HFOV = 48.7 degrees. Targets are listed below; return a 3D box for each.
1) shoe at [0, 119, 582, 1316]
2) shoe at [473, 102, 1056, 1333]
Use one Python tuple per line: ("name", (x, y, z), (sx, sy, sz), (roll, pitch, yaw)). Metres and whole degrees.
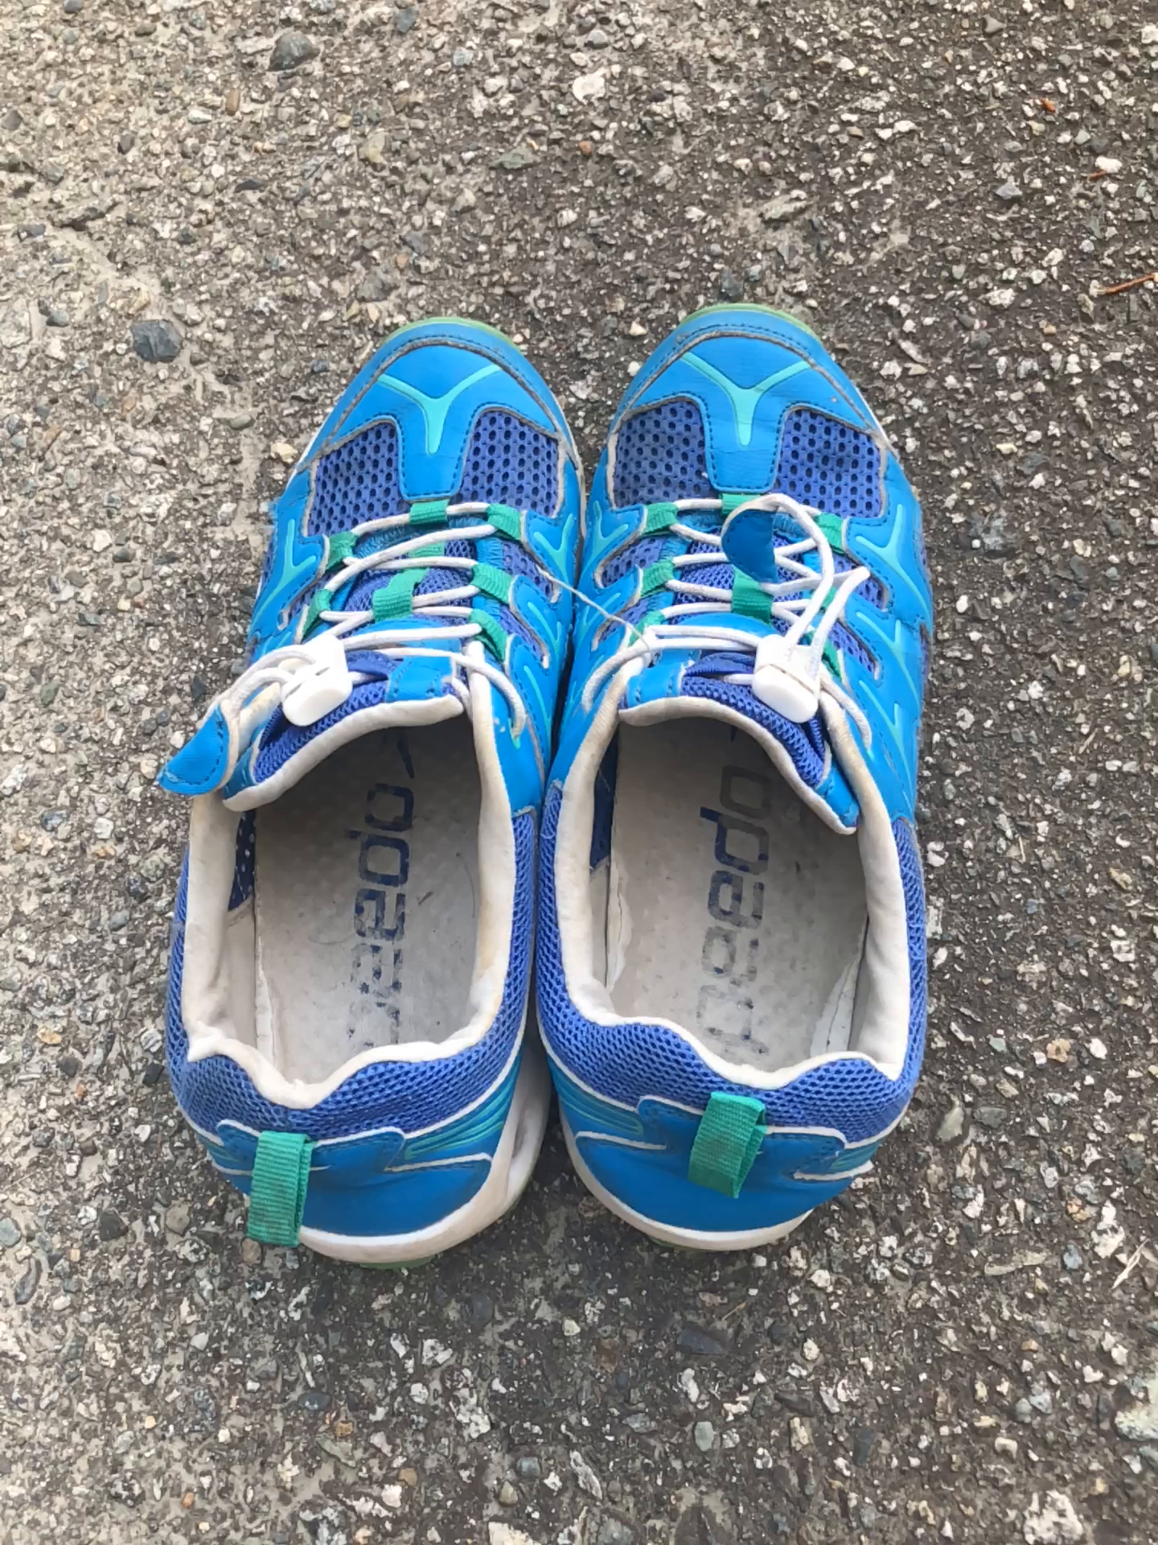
("shoe", (-0.059, -0.017, 0.314), (0.100, 0.090, 0.260), (2, 75, 5))
("shoe", (0.041, -0.016, 0.296), (0.100, 0.090, 0.250), (2, 75, 5))
